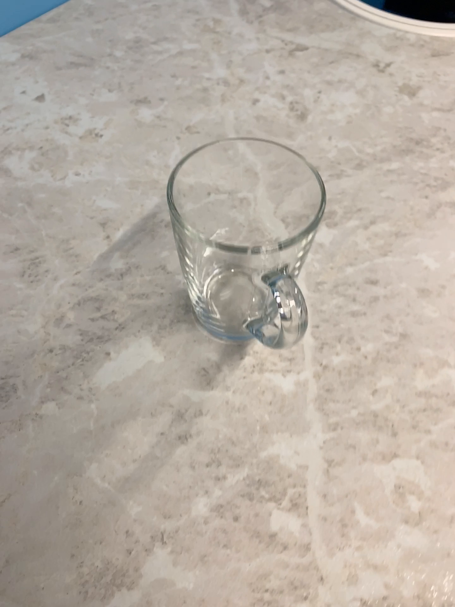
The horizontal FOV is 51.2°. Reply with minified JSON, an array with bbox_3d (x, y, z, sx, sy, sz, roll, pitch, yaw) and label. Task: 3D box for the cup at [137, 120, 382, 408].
[{"bbox_3d":[0.008,-0.022,0.274,0.089,0.097,0.116,-13,59,-10],"label":"cup"}]
